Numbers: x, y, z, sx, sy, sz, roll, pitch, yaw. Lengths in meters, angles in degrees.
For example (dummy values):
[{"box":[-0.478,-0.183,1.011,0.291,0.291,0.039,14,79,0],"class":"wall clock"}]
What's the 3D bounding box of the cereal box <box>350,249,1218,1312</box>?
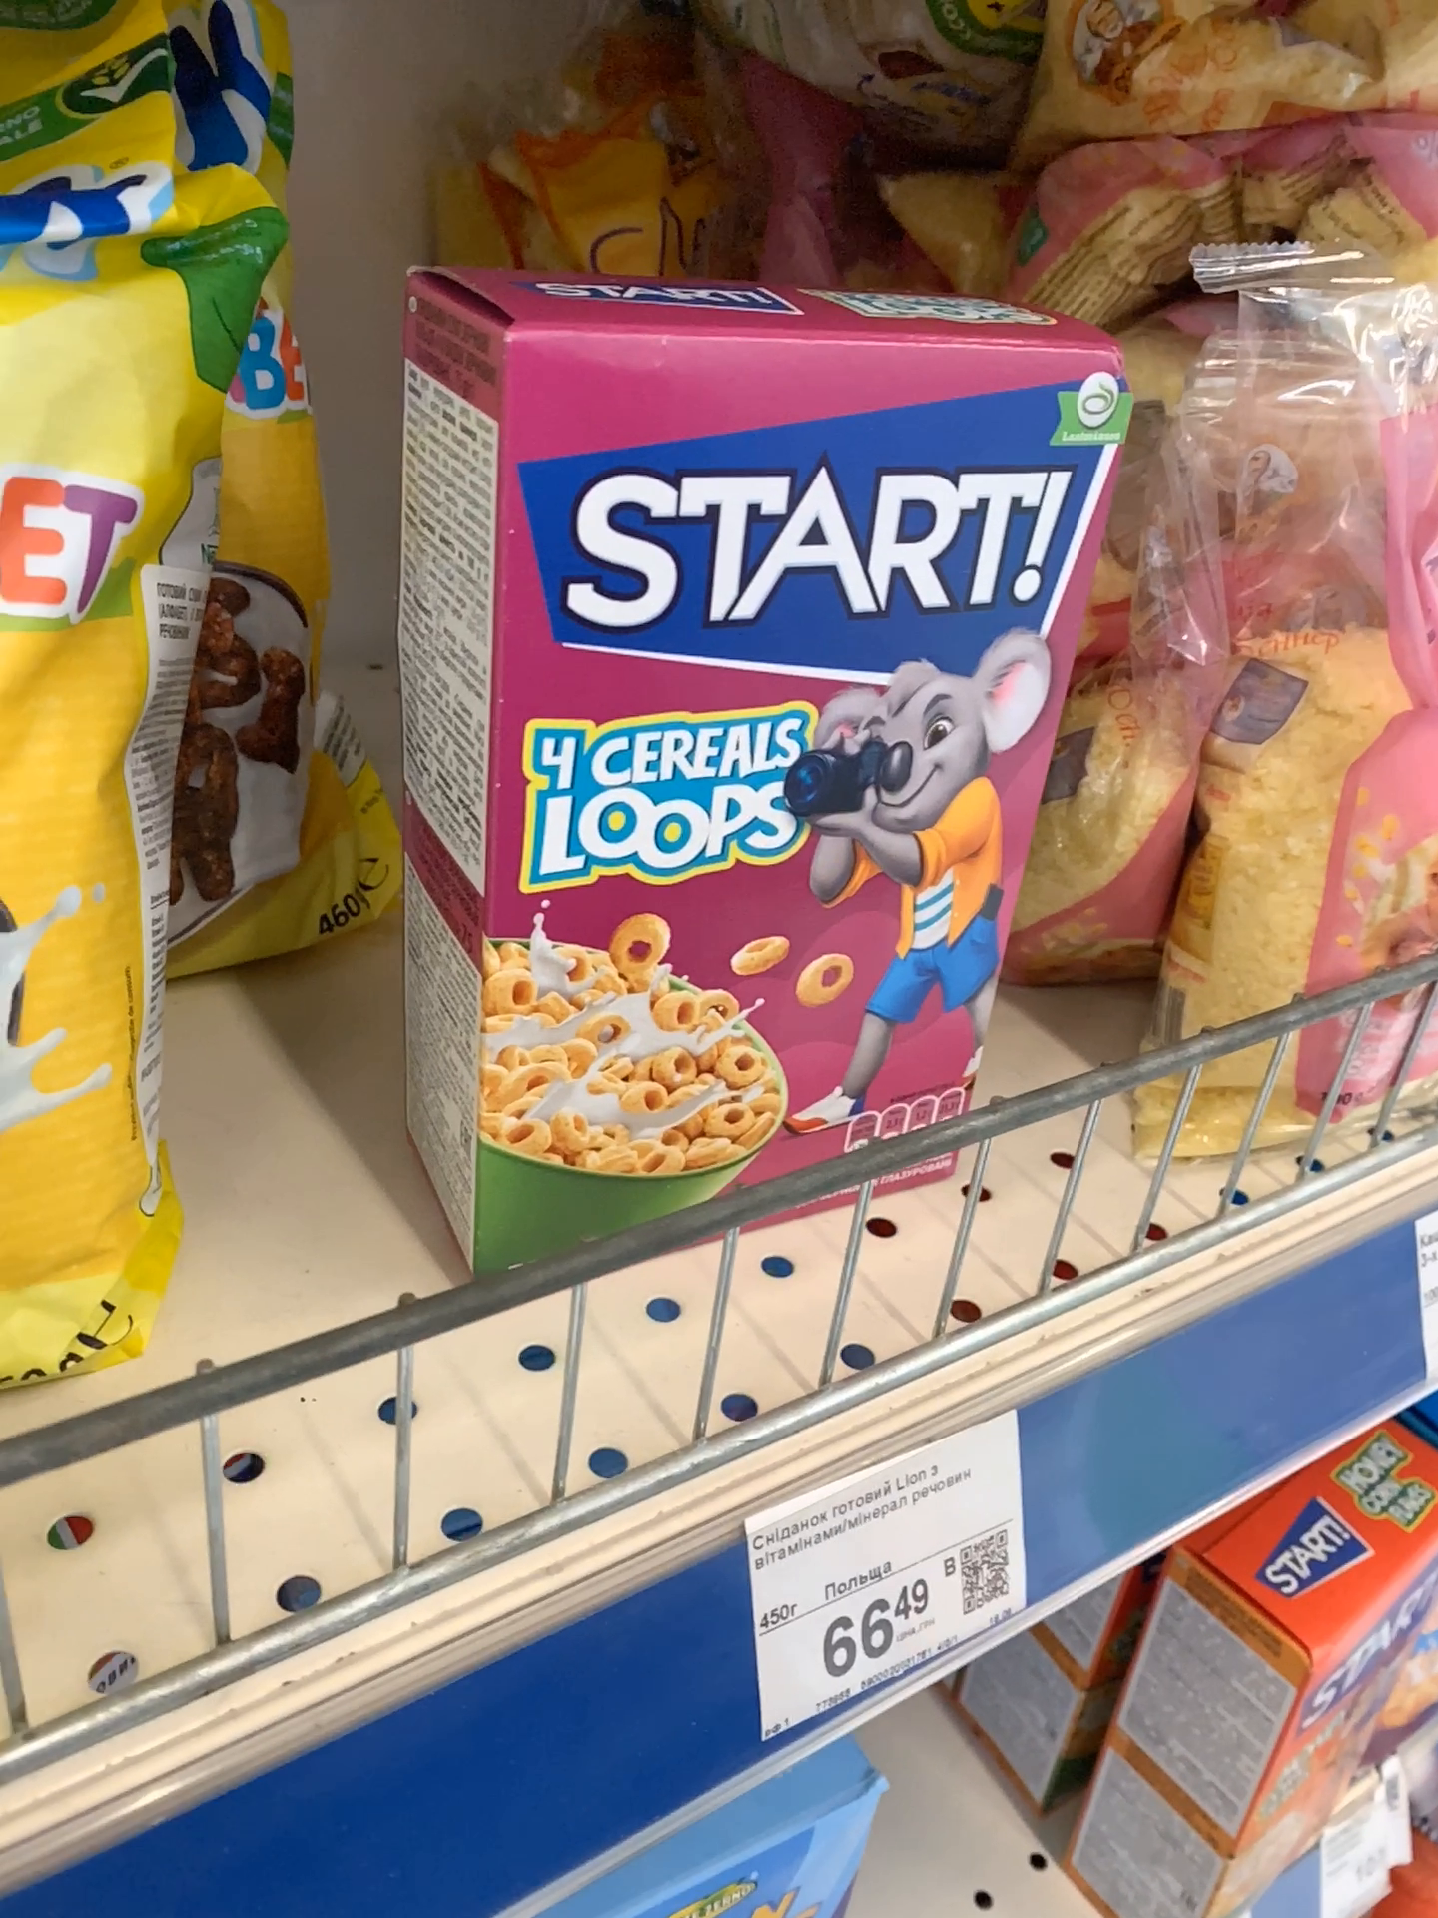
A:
[{"box":[0.003,-0.030,0.261,0.120,0.159,0.050,-10,34,-27],"class":"cereal box"}]
